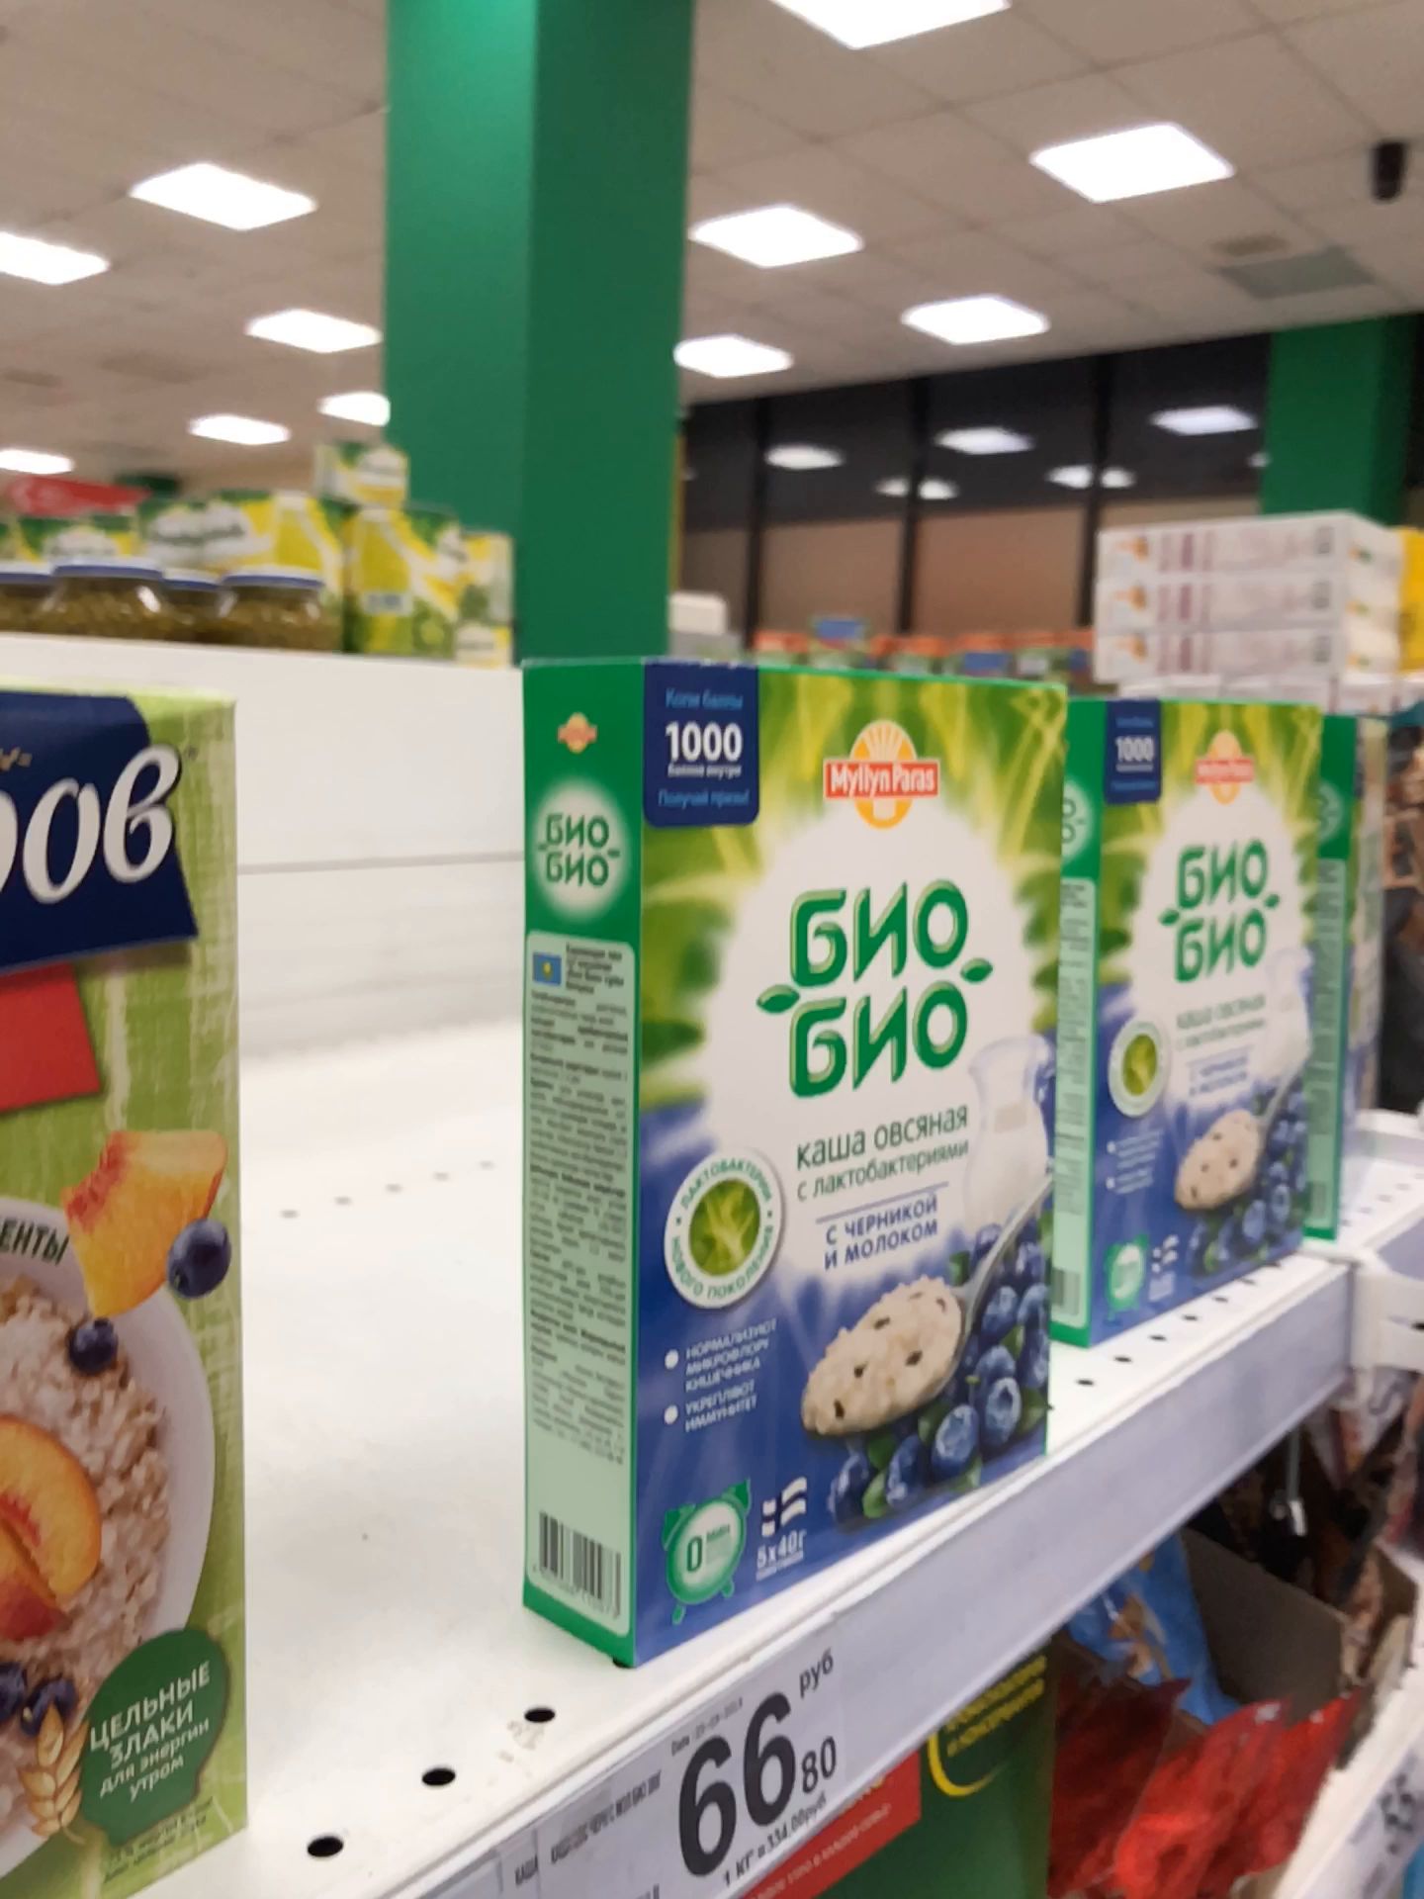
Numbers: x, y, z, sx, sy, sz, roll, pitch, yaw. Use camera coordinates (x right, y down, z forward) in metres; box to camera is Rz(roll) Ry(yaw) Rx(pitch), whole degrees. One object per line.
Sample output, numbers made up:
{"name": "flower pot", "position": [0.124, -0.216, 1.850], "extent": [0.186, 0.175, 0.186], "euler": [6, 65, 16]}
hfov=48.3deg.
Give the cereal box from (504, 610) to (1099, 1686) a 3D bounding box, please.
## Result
{"name": "cereal box", "position": [0.027, 0.034, 0.375], "extent": [0.040, 0.210, 0.160], "euler": [6, 8, 45]}
